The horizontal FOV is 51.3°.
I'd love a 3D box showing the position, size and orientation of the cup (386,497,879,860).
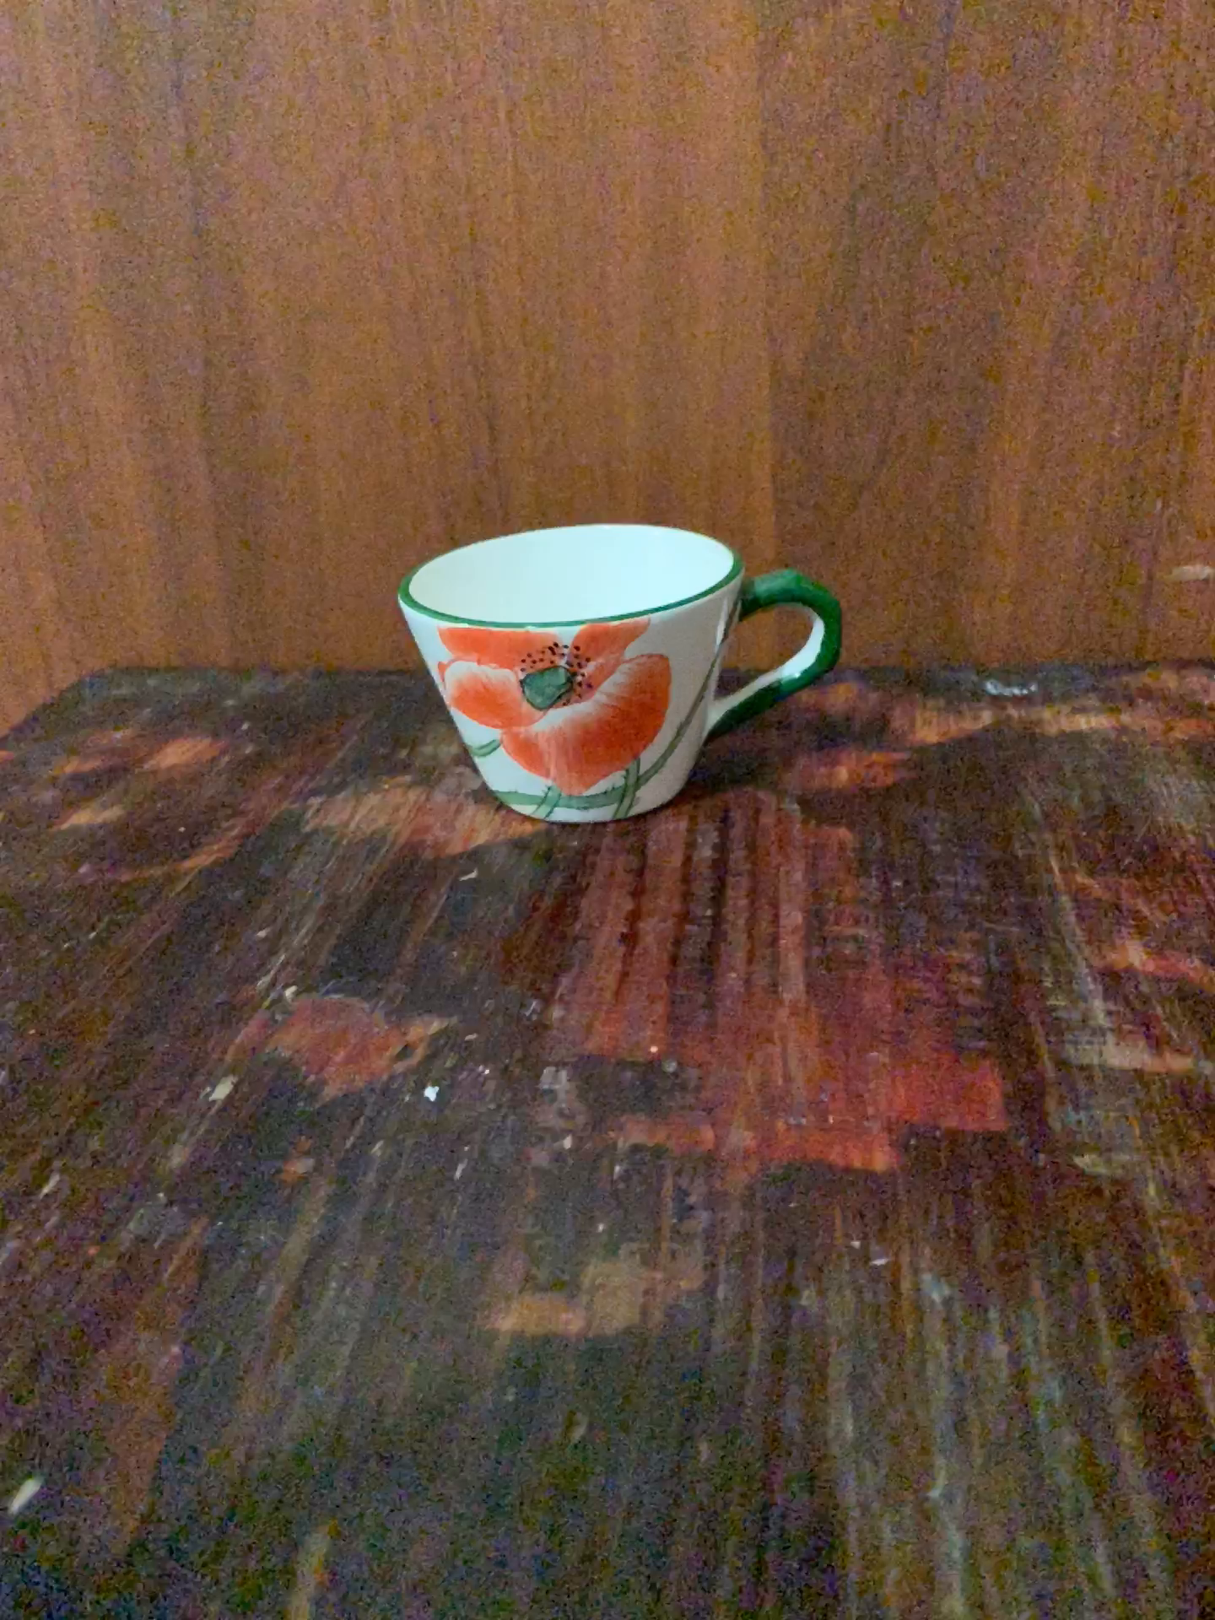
[{"bbox_3d":[0.003,-0.033,0.283,0.094,0.045,0.076,-8,27,-3],"label":"cup"}]
